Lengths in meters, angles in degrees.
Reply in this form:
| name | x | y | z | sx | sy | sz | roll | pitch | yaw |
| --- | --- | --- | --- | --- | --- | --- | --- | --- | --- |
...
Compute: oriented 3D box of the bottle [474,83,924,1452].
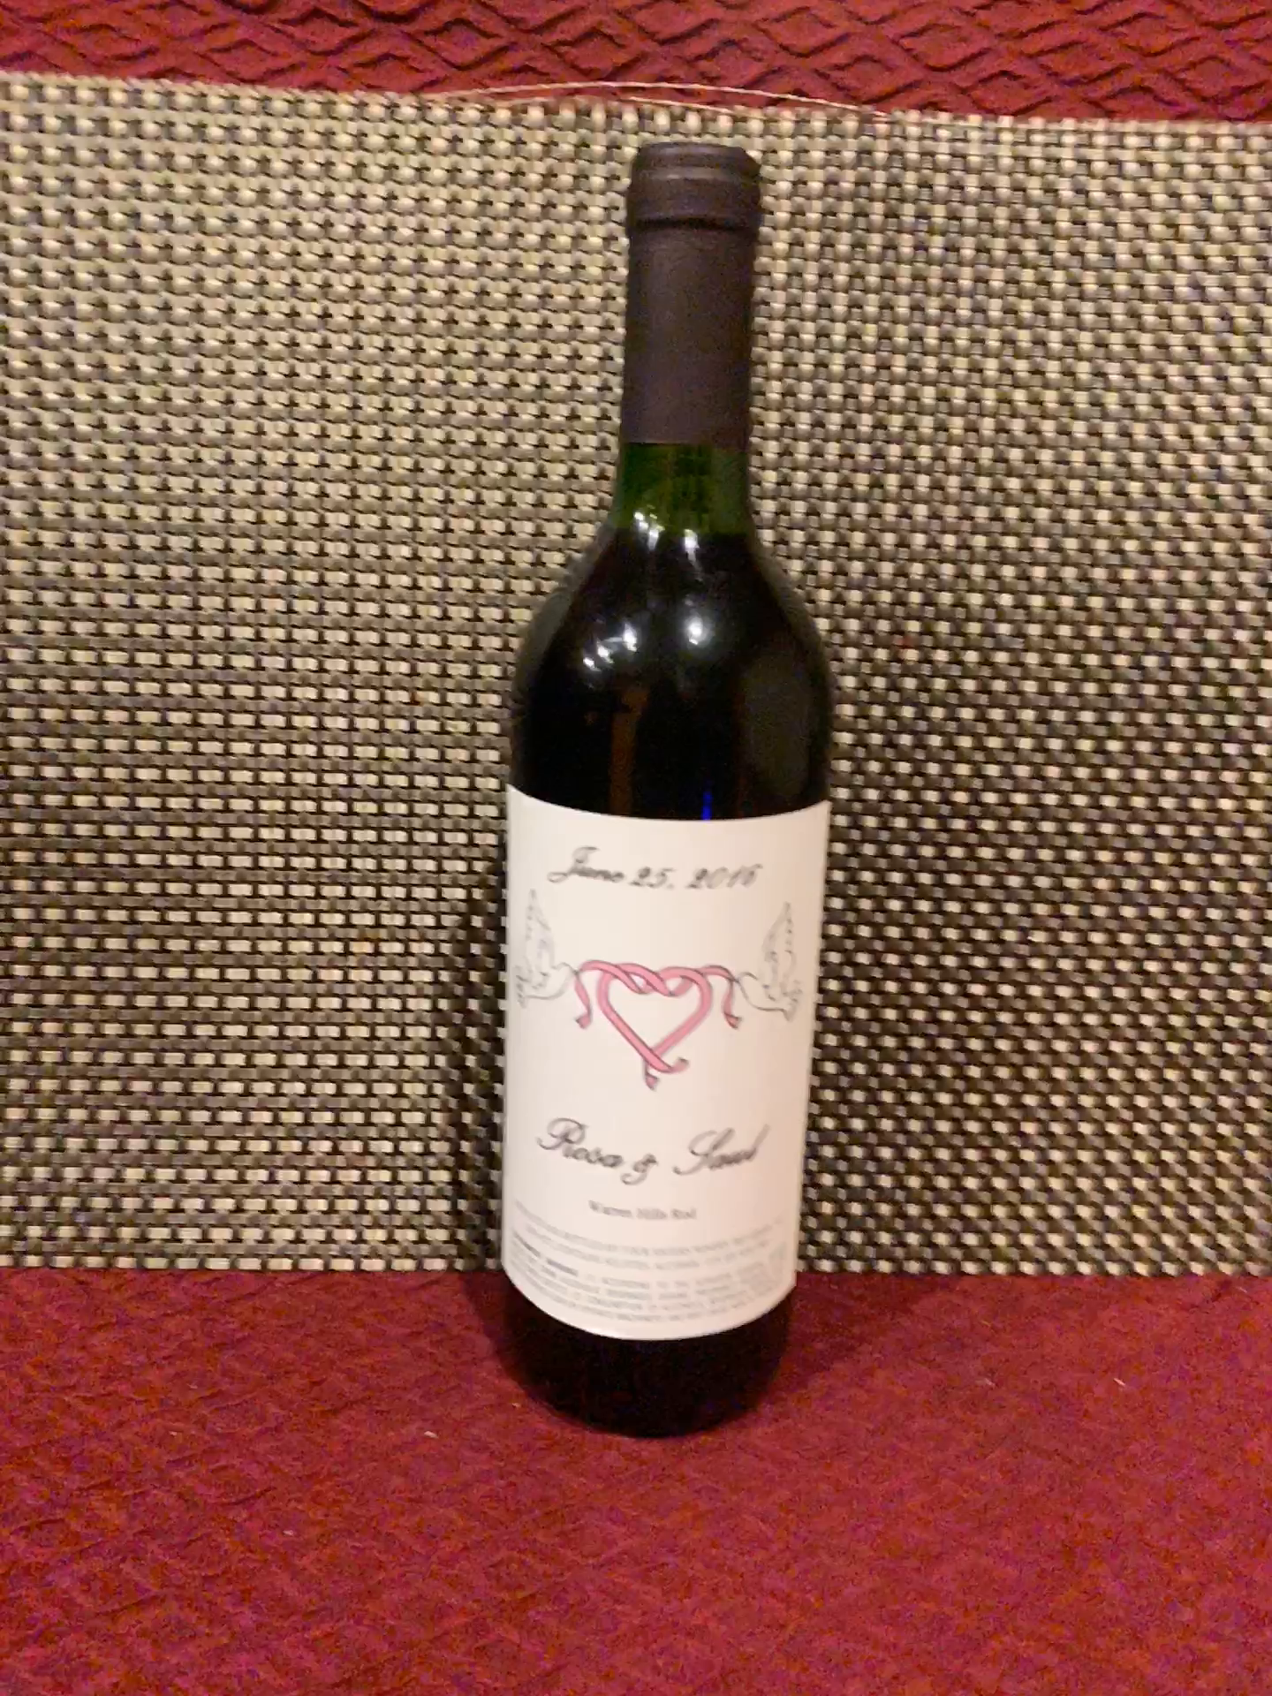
| name | x | y | z | sx | sy | sz | roll | pitch | yaw |
| --- | --- | --- | --- | --- | --- | --- | --- | --- | --- |
| bottle | 0.007 | -0.005 | 0.303 | 0.080 | 0.289 | 0.060 | 2 | 16 | 1 |
